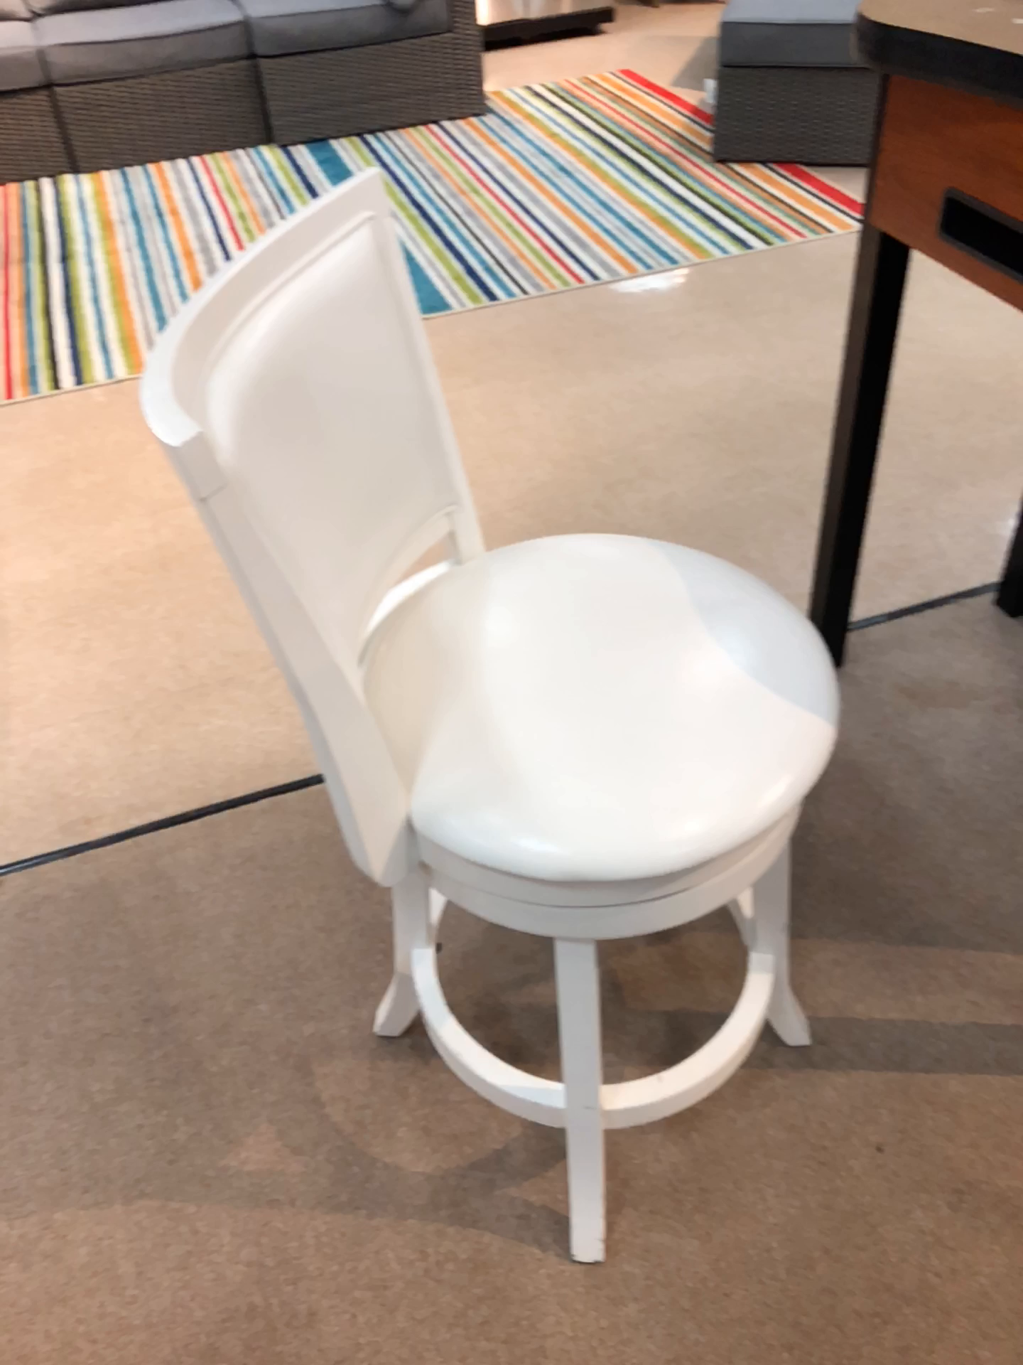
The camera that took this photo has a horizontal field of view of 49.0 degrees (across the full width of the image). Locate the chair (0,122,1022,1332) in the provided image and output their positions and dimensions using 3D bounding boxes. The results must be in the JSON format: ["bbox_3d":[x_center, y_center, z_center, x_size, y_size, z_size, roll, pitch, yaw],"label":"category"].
[{"bbox_3d":[0.068,0.056,1.090,0.570,0.943,0.624,6,42,12],"label":"chair"}]
